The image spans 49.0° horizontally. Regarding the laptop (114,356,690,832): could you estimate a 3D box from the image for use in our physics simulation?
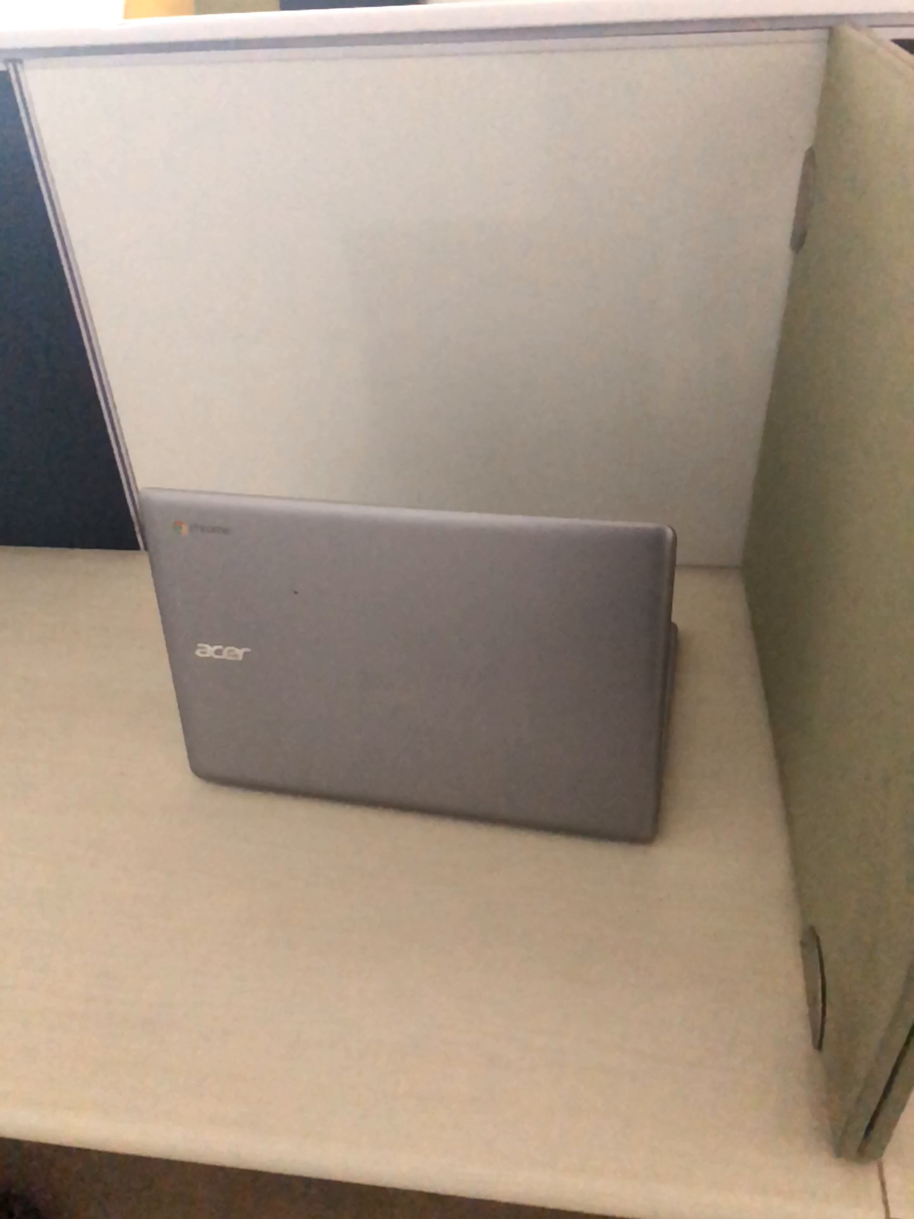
[{"bbox_3d":[-0.013,-0.023,0.721,0.321,0.218,0.222,6,37,11],"label":"laptop"}]
